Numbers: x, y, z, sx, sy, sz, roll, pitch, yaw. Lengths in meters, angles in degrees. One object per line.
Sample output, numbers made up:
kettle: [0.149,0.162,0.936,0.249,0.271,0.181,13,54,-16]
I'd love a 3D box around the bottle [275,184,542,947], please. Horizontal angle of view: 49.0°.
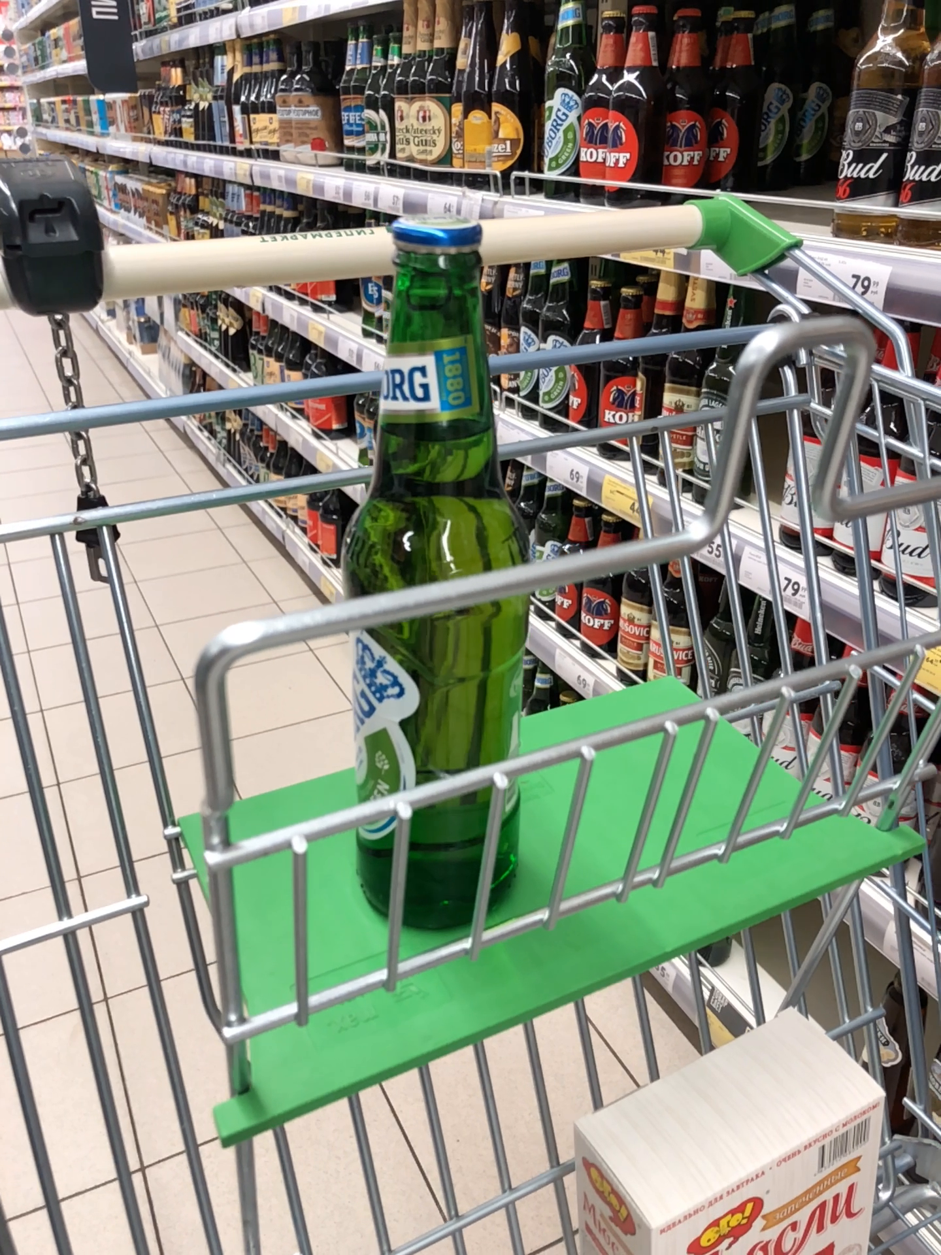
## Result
bottle: [-0.016,-0.013,0.366,0.070,0.259,0.080,-1,28,-1]
